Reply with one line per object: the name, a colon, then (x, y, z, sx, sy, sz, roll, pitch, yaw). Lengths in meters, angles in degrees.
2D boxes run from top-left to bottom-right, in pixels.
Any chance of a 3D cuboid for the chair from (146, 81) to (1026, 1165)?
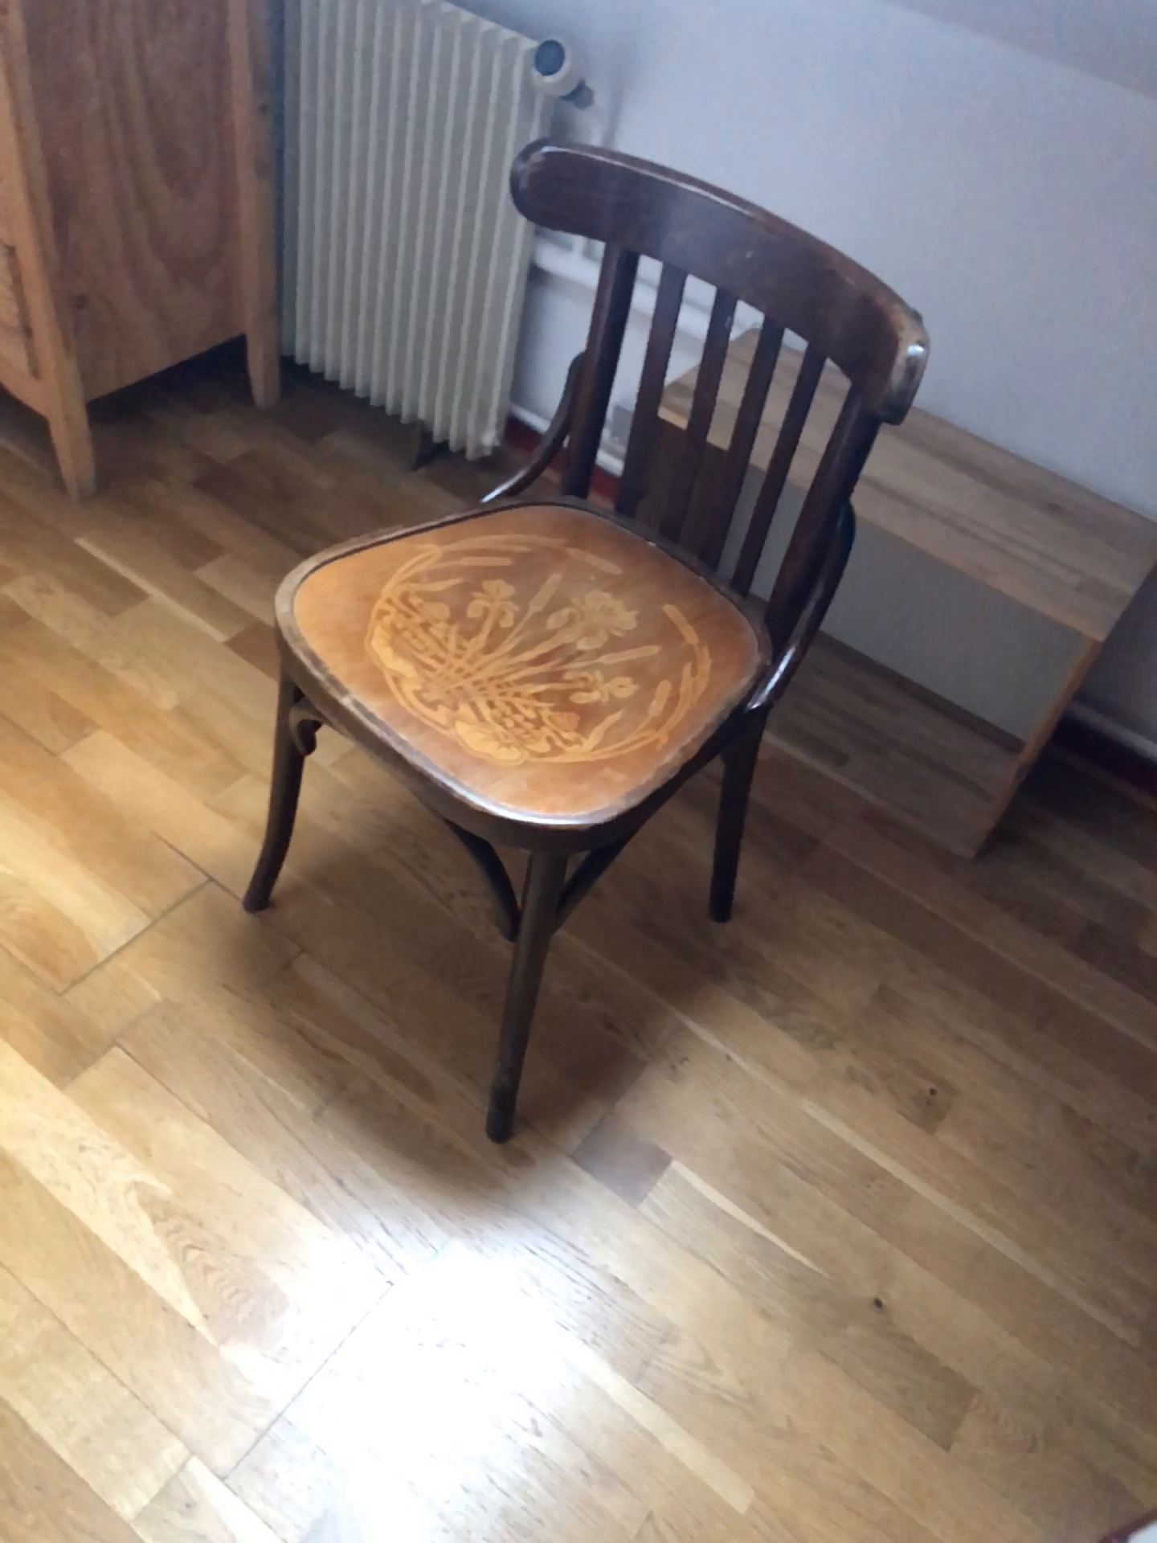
chair: (-0.041, -0.106, 1.120, 0.442, 0.737, 0.414, 38, 50, 22)
